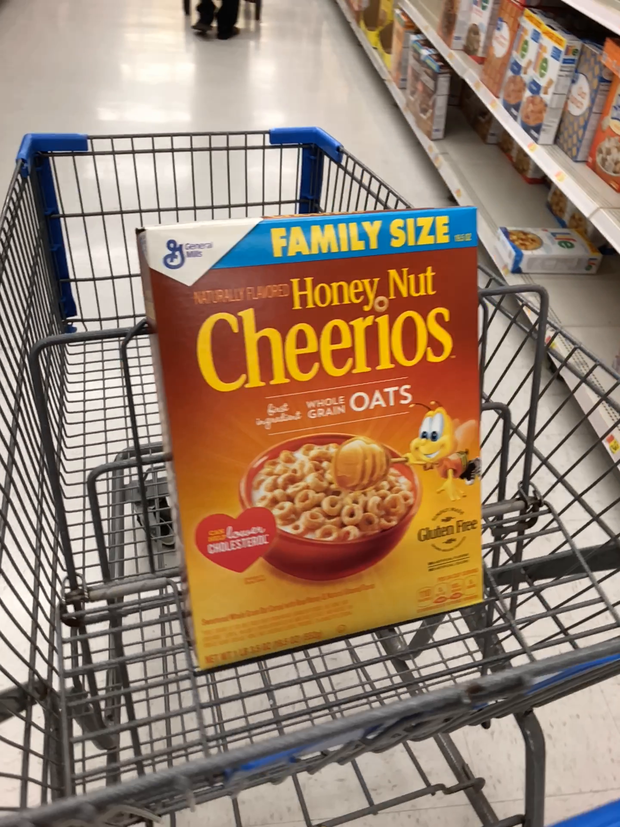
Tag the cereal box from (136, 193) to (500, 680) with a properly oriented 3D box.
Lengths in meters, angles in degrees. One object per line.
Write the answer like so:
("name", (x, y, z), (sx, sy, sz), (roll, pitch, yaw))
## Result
("cereal box", (0.017, 0.012, 0.526), (0.250, 0.330, 0.070), (-8, 15, -15))
